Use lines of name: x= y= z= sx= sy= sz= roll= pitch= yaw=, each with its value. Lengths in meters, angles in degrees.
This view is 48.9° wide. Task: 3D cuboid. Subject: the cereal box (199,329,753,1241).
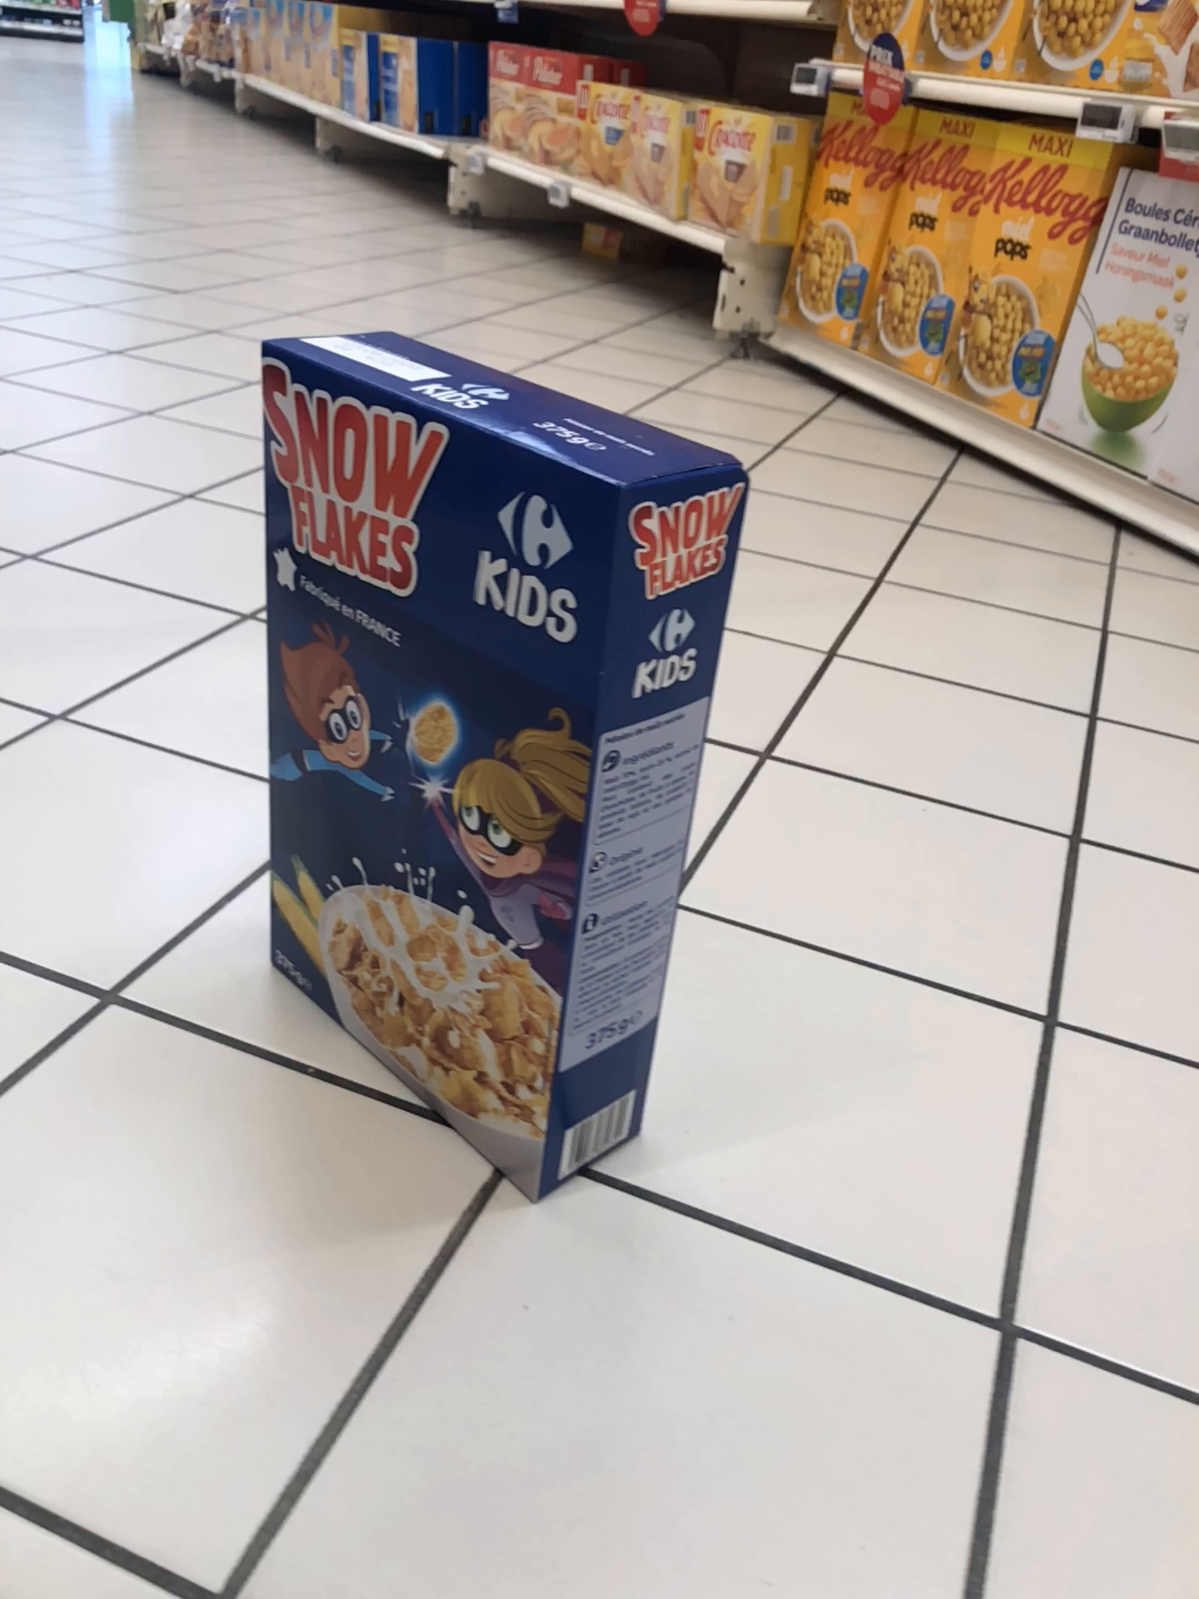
cereal box: x=-0.064 y=-0.012 z=0.516 sx=0.080 sy=0.288 sz=0.200 roll=-20 pitch=38 yaw=-40
